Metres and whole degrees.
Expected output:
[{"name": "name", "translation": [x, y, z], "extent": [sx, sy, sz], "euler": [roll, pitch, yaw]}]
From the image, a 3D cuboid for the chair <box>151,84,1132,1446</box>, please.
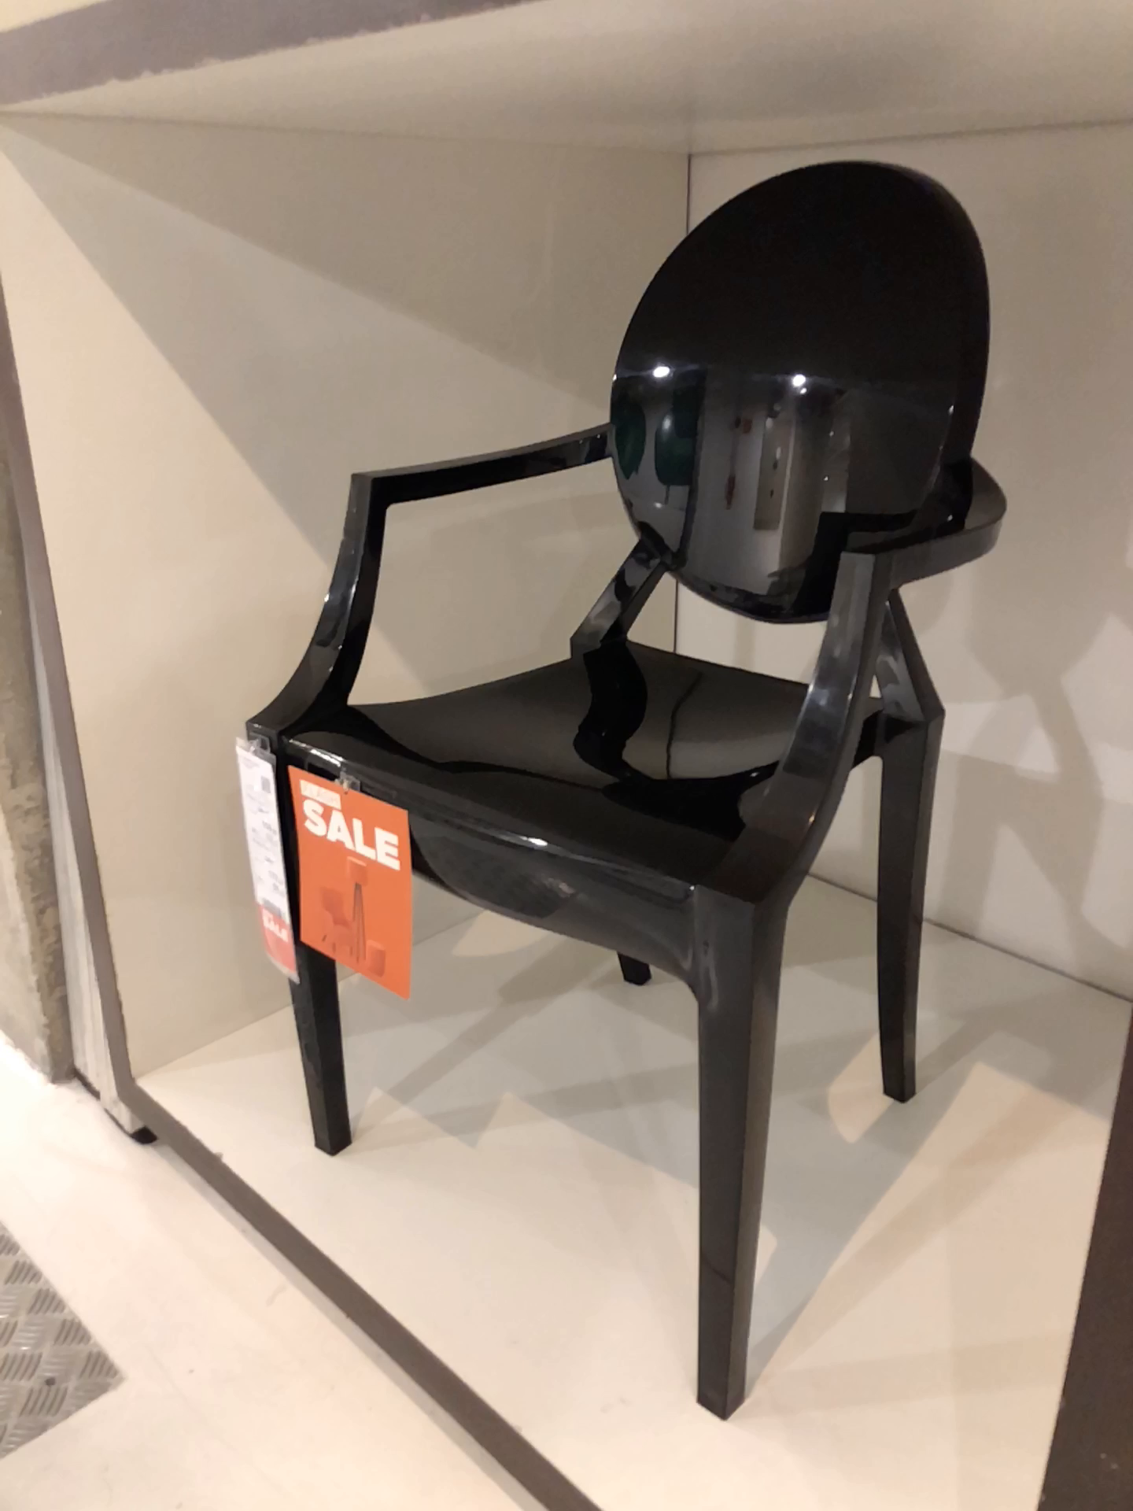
[{"name": "chair", "translation": [0.068, -0.043, 1.048], "extent": [0.511, 0.854, 0.492], "euler": [17, 28, 38]}]
